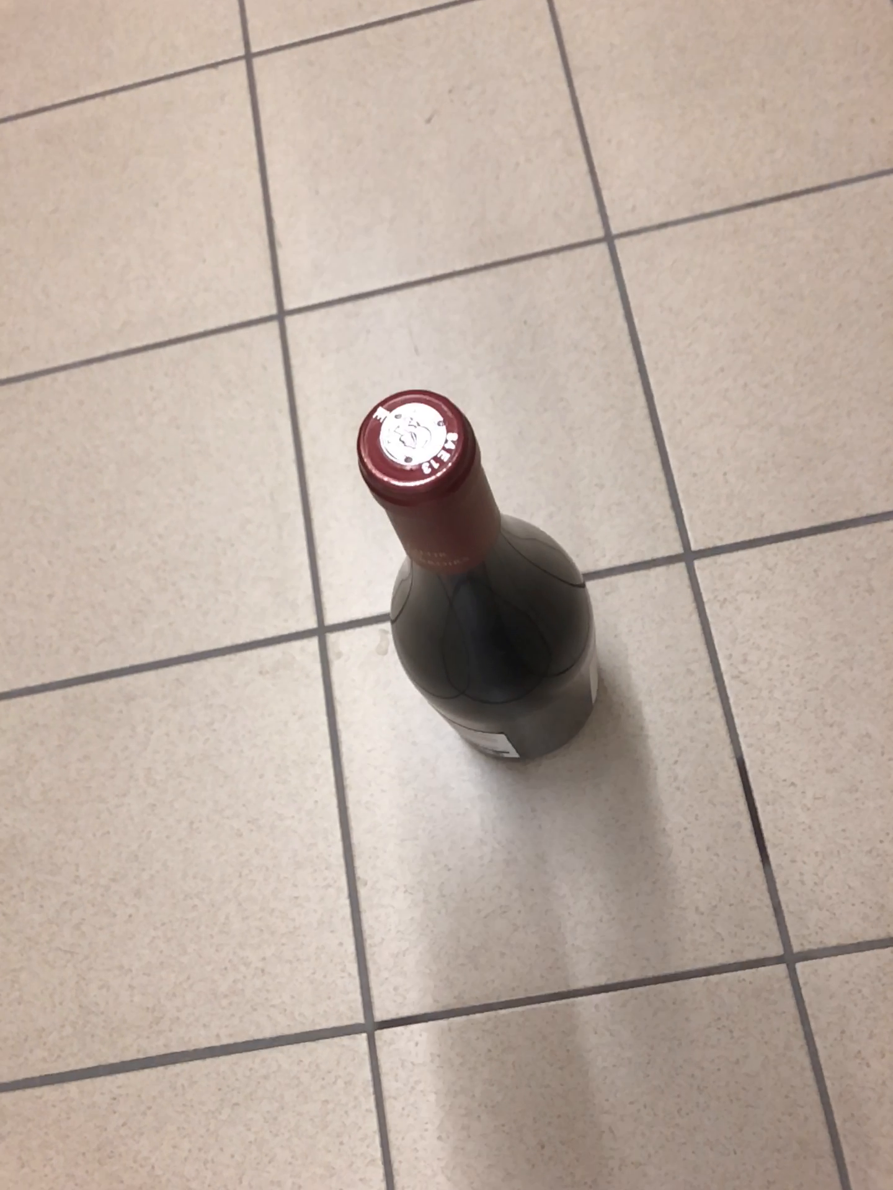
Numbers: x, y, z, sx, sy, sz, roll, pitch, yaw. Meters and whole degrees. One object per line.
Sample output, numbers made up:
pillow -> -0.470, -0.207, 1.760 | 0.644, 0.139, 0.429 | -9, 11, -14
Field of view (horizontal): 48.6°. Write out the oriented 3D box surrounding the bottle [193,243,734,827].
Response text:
bottle -> 0.022, 0.011, 0.357 | 0.090, 0.270, 0.090 | -3, 73, 9
